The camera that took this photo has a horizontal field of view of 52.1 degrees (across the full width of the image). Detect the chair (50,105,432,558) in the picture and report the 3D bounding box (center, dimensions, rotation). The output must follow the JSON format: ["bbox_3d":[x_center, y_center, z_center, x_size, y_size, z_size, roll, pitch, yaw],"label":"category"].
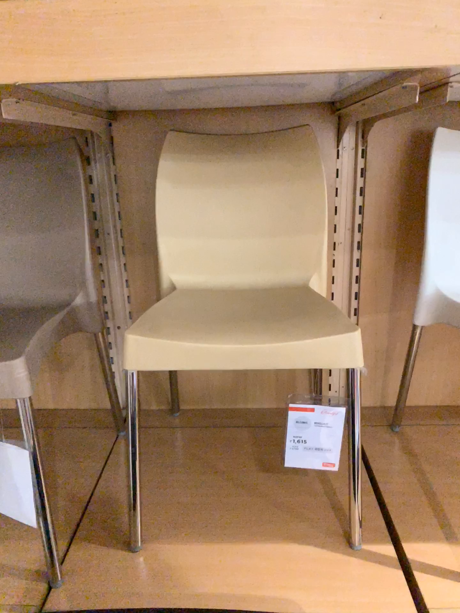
[{"bbox_3d":[0.012,0.008,1.070,0.540,0.807,0.592,0,18,0],"label":"chair"}]
